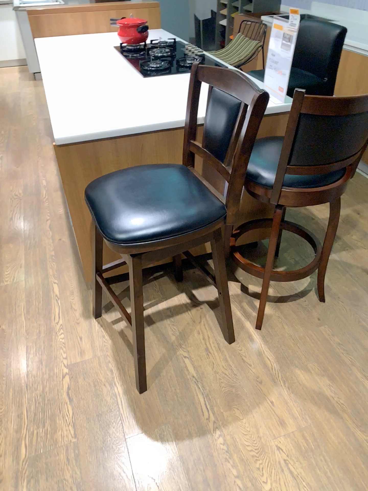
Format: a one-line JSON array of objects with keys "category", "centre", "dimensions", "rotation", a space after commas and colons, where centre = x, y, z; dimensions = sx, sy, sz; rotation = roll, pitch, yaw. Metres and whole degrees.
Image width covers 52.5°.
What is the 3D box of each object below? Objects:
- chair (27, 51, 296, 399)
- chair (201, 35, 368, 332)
[{"category": "chair", "centre": [-0.087, -0.077, 1.399], "dimensions": [0.570, 1.026, 0.582], "rotation": [-21, 42, -24]}, {"category": "chair", "centre": [0.448, -0.257, 1.606], "dimensions": [0.550, 1.026, 0.572], "rotation": [-15, 40, -17]}]
